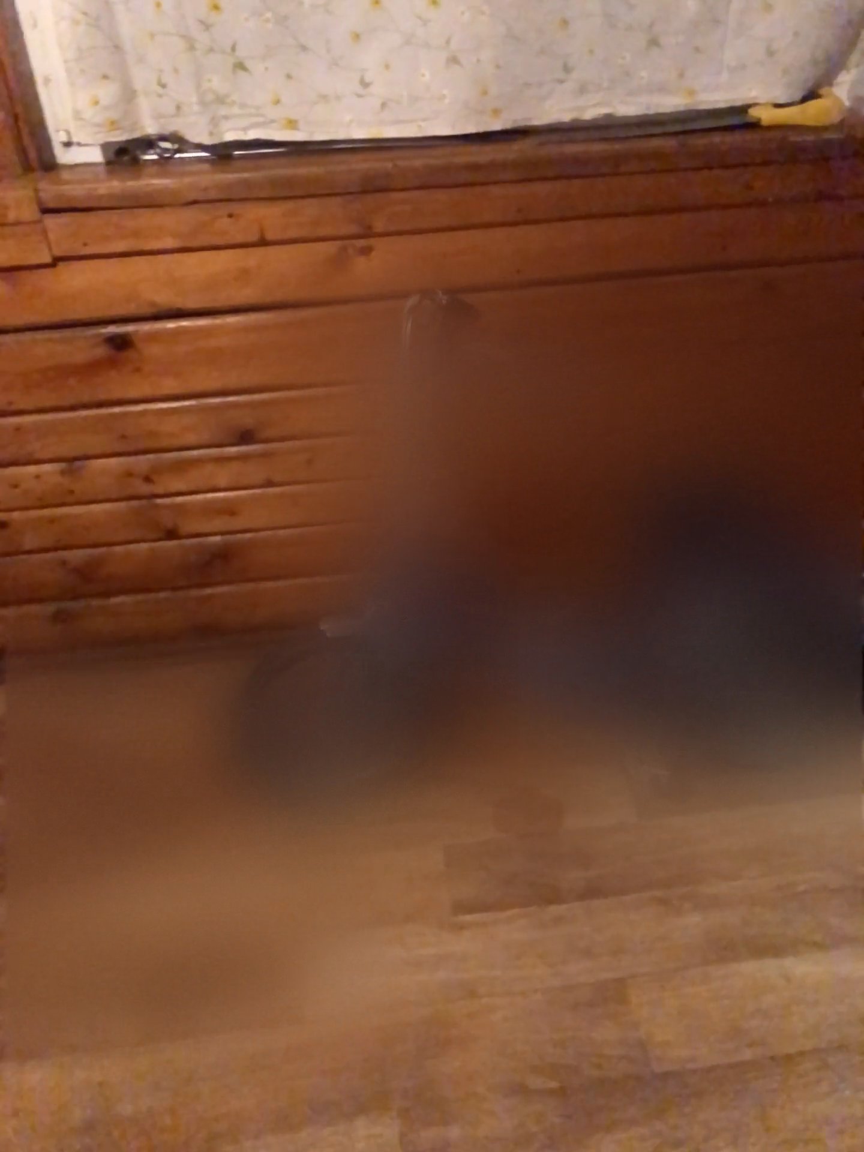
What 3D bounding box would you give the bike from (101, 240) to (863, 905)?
[{"bbox_3d":[0.177,-0.035,1.359,0.956,0.698,0.597,-3,36,-4],"label":"bike"}]
